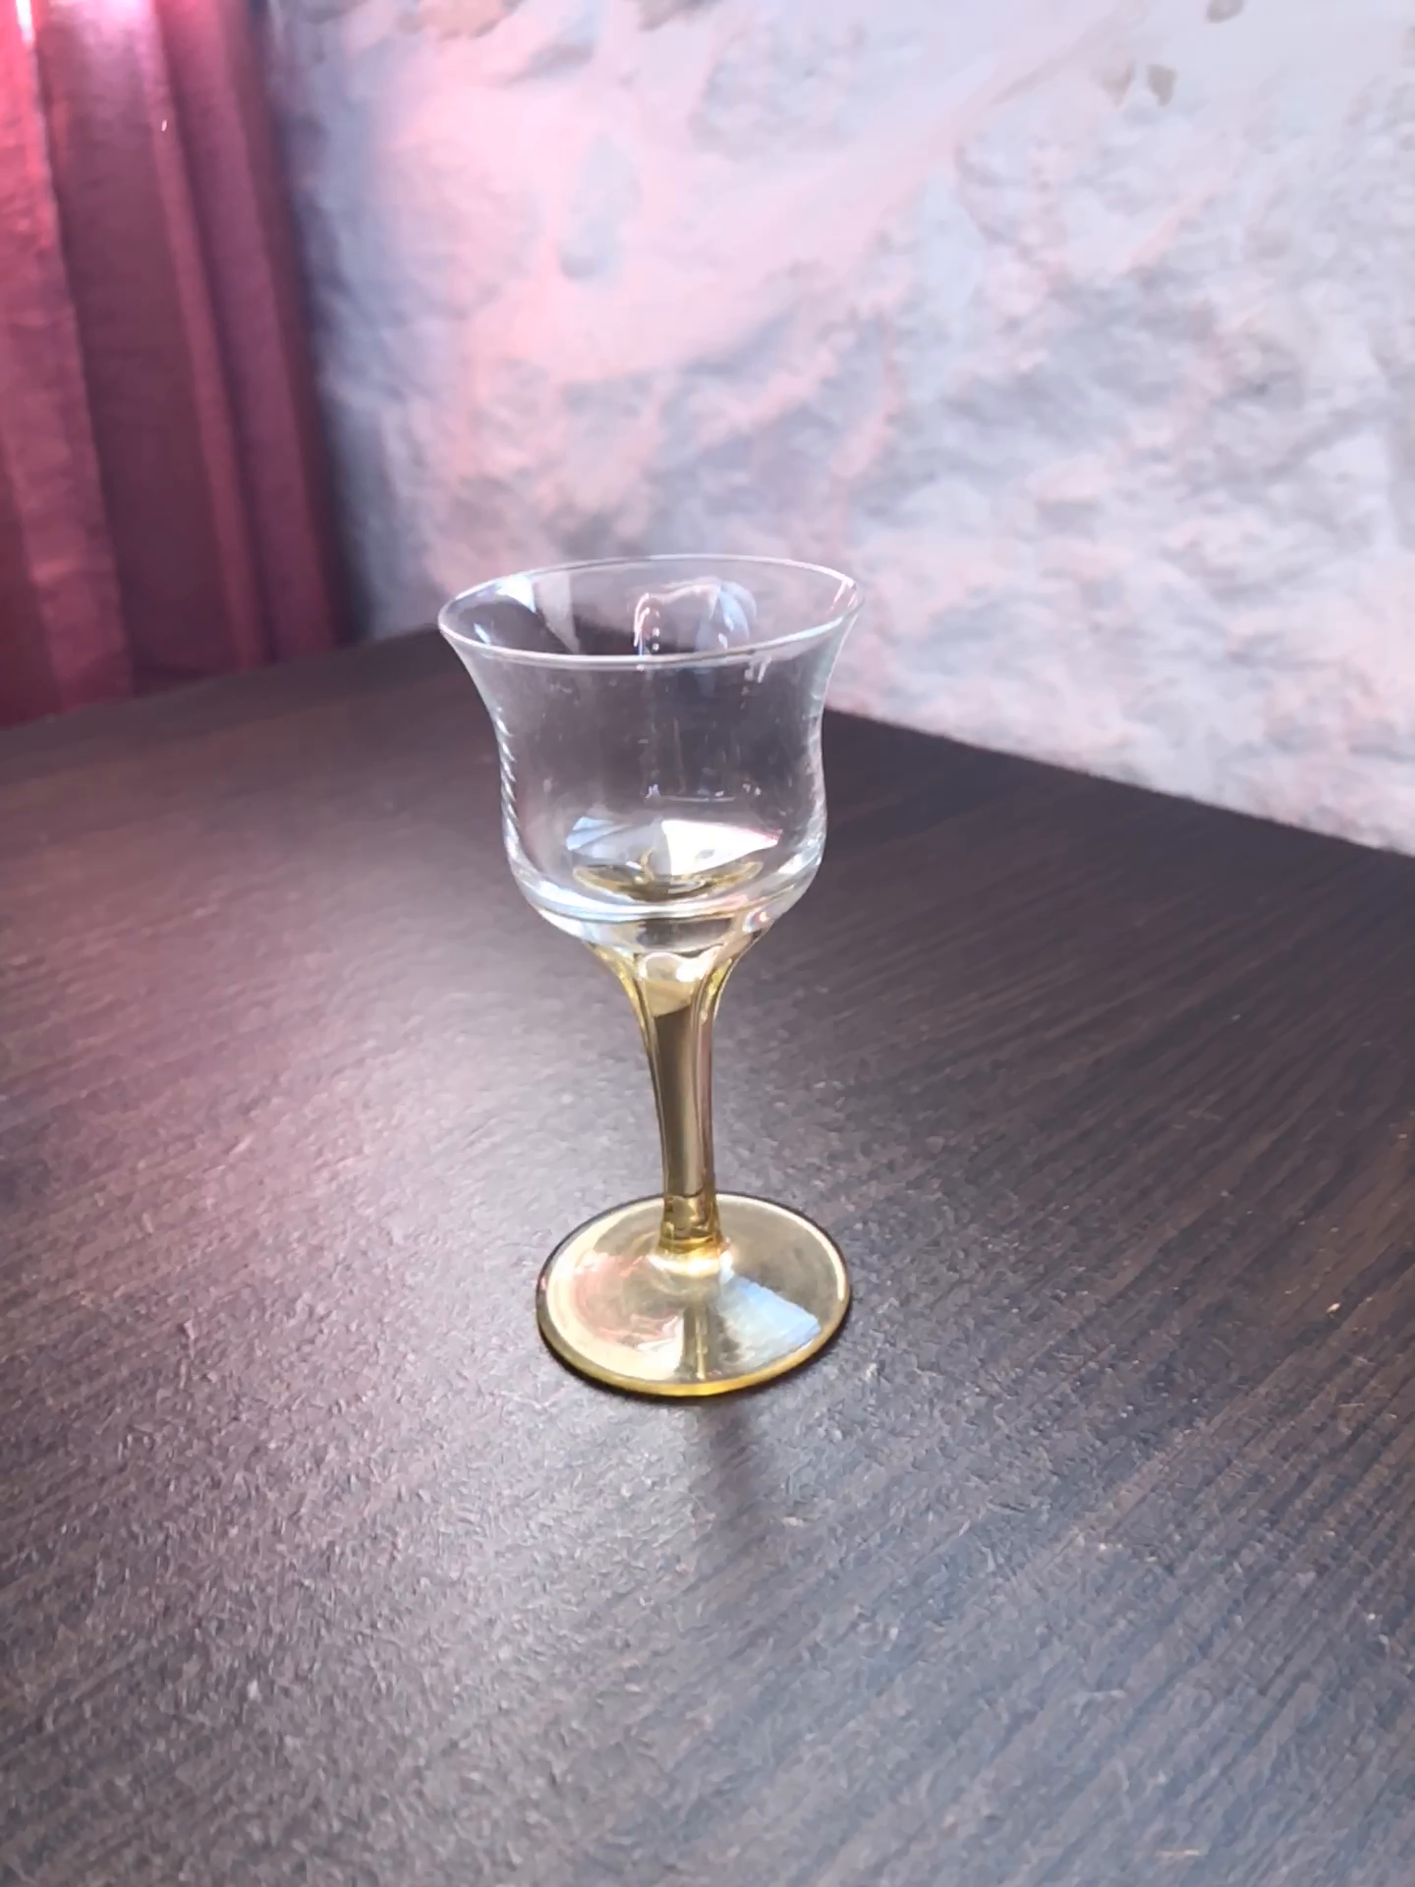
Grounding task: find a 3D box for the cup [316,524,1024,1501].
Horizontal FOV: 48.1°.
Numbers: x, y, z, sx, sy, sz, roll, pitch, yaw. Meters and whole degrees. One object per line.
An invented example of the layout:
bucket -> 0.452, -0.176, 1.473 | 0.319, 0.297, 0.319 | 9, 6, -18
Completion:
cup -> -0.002, 0.003, 0.192 | 0.059, 0.093, 0.051 | -22, 30, -39
